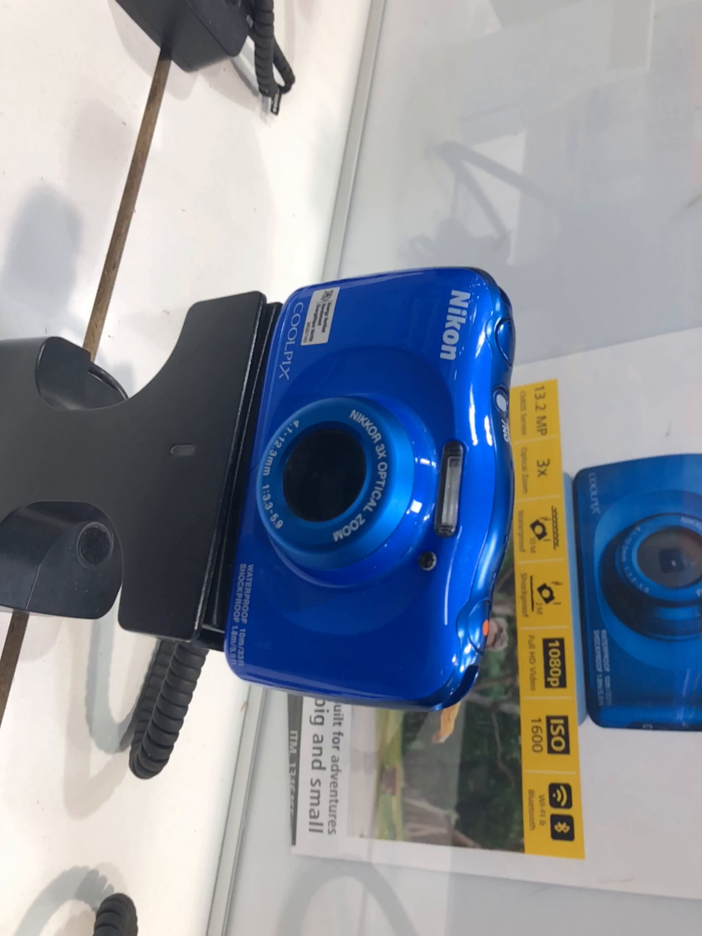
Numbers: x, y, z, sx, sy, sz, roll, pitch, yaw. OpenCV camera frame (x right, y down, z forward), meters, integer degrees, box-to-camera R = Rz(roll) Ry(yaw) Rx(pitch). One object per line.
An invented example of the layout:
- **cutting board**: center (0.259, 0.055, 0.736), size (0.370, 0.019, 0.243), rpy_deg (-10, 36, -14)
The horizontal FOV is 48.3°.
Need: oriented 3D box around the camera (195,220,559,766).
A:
- **camera**: center (0.012, 0.008, 0.217), size (0.050, 0.070, 0.130), rpy_deg (32, 62, -55)
